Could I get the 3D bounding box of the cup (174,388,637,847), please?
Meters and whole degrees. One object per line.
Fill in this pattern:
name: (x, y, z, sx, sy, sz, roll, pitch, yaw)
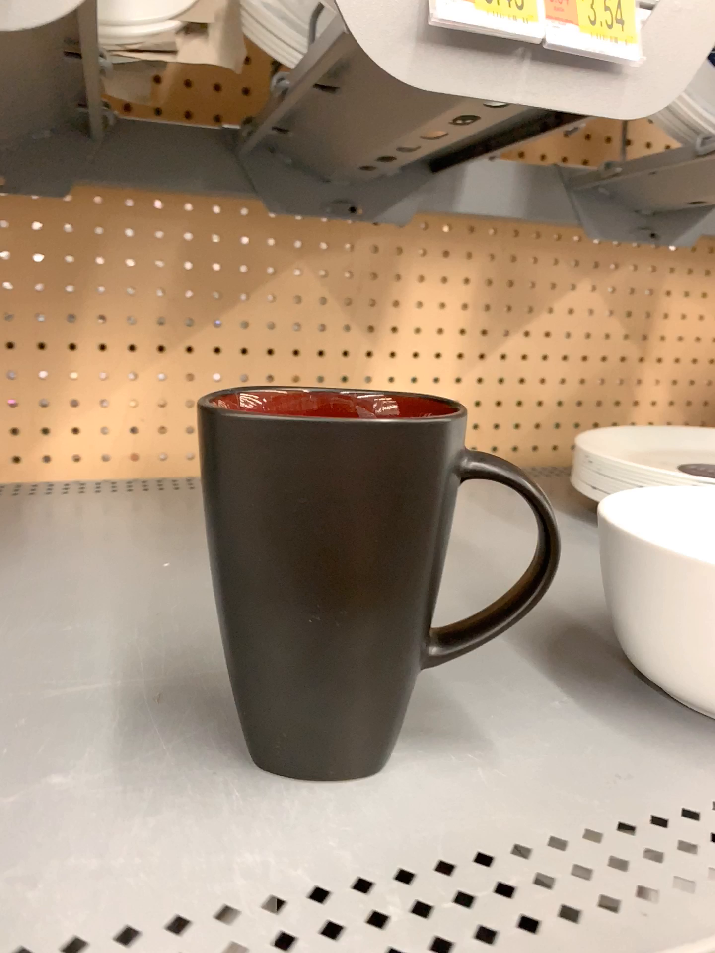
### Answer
cup: (0.008, 0.040, 0.263, 0.130, 0.130, 0.090, 1, 13, -6)
